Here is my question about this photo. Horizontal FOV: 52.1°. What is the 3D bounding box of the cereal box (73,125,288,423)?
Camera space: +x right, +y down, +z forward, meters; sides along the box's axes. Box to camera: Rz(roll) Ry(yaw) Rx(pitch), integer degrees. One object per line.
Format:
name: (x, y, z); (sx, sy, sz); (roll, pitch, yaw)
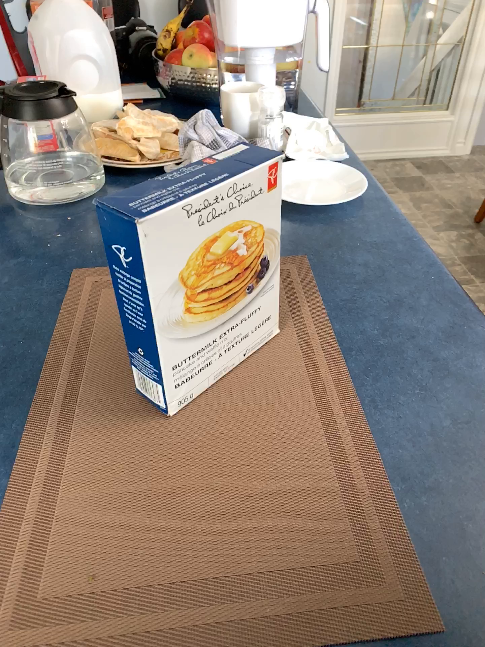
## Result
cereal box: (-0.039, -0.043, 0.439); (0.050, 0.208, 0.171); (30, 48, 33)
